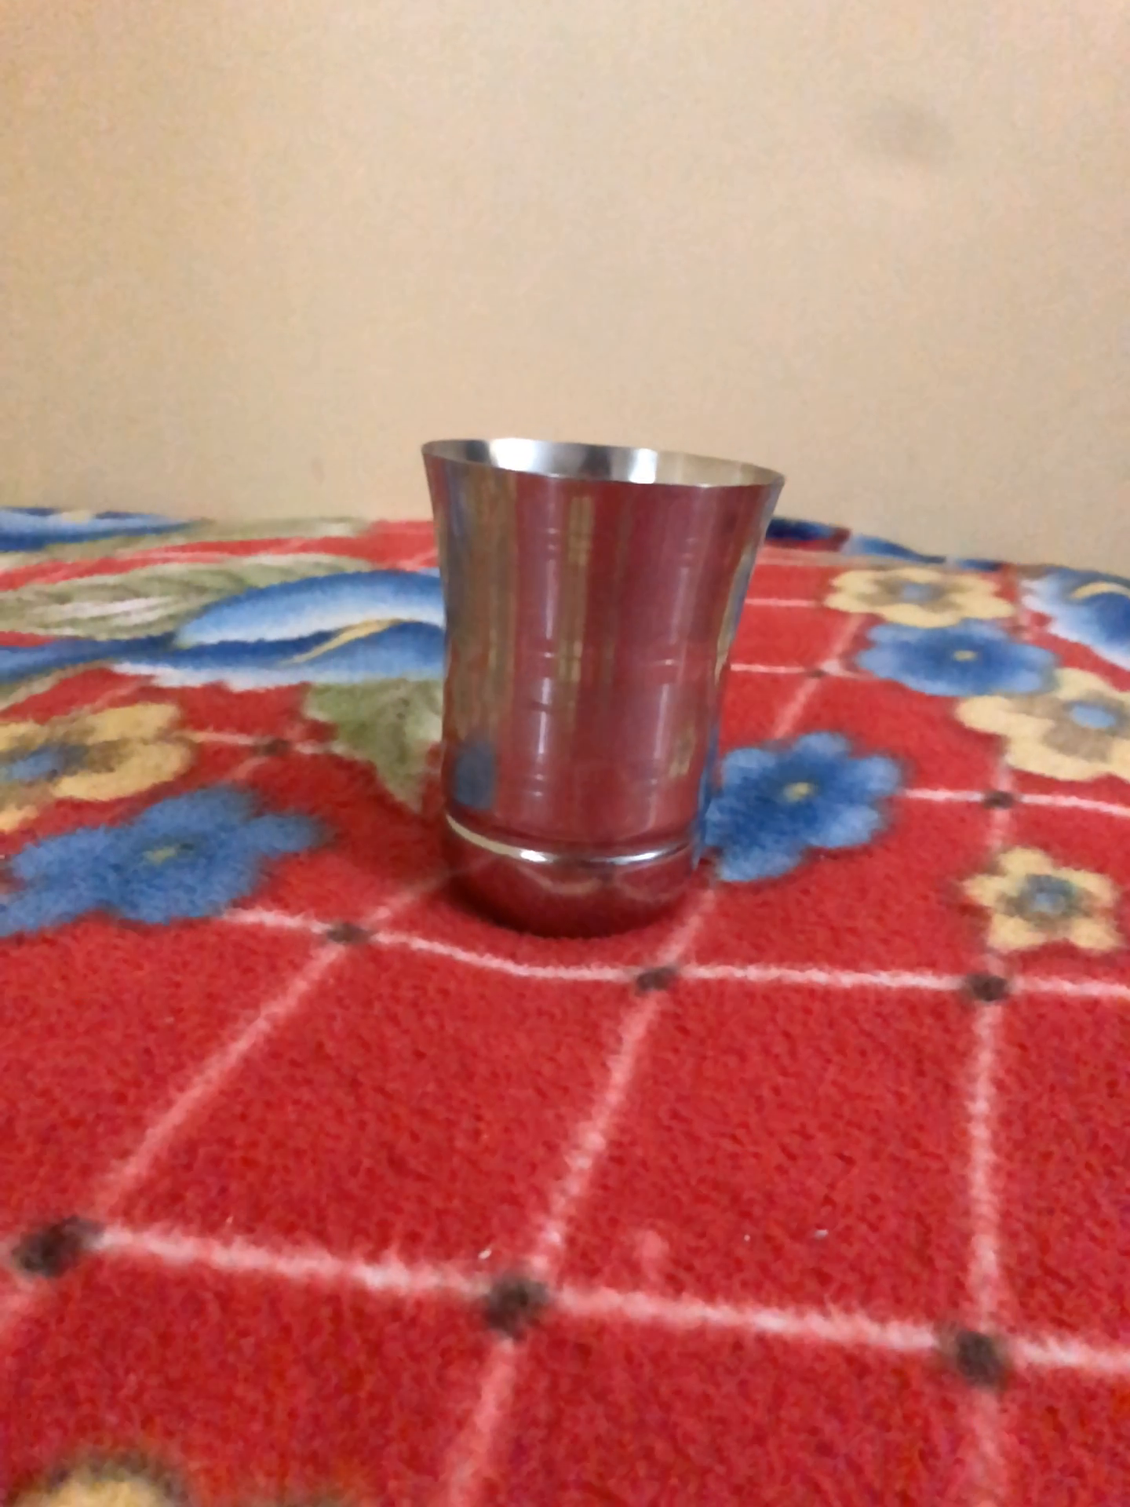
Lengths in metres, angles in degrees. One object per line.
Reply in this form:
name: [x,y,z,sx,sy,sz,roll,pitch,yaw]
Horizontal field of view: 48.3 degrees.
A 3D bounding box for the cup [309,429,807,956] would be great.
cup: [0.002,-0.021,0.271,0.087,0.090,0.089,2,15,-1]
